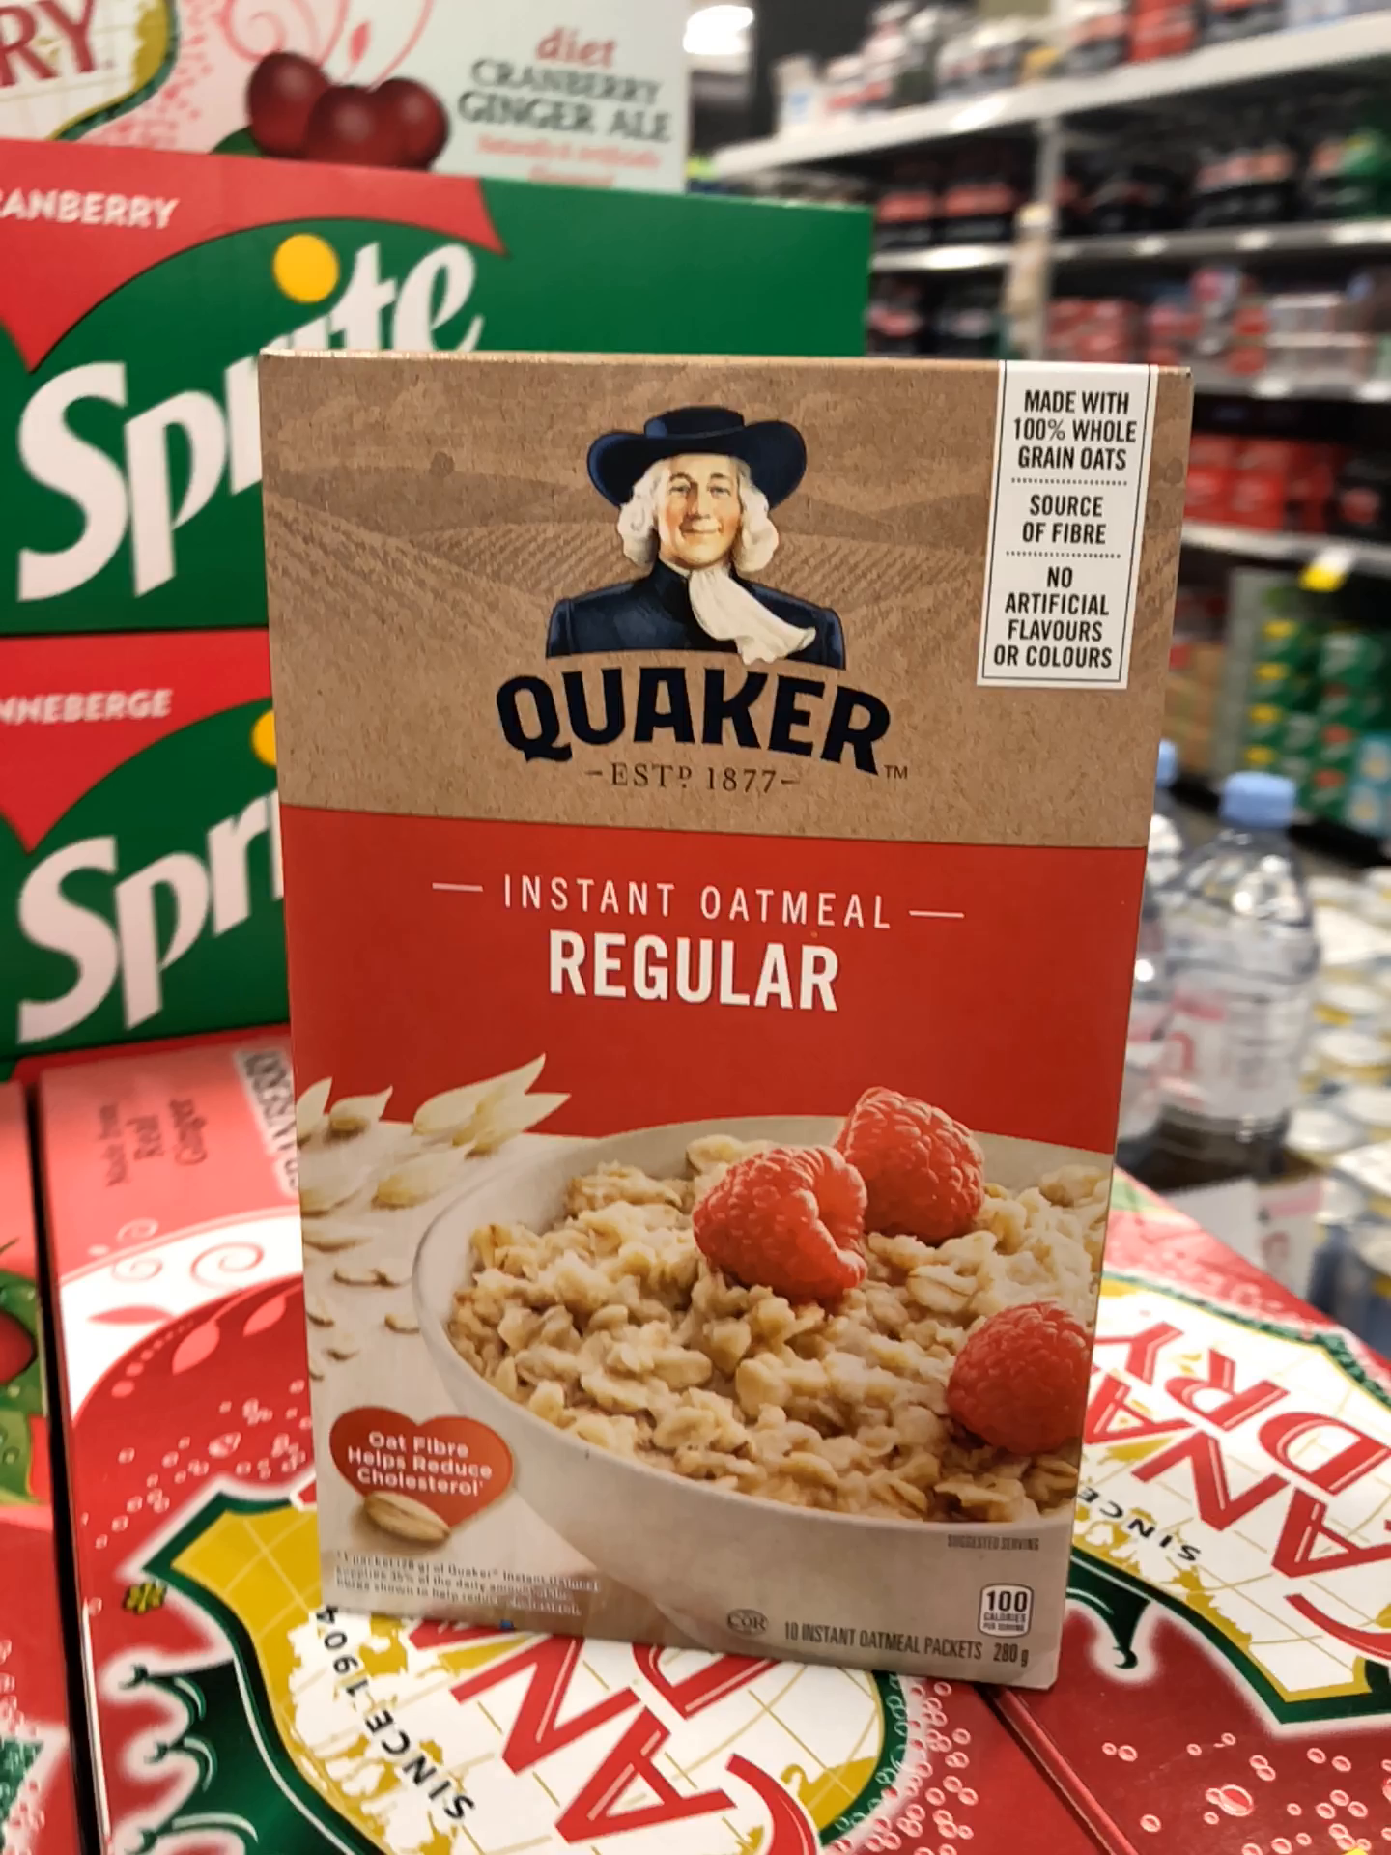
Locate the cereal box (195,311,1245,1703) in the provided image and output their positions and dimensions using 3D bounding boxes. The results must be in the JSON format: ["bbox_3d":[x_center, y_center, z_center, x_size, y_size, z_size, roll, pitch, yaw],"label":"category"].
[{"bbox_3d":[0.001,0.011,0.254,0.130,0.199,0.070,3,16,5],"label":"cereal box"}]
